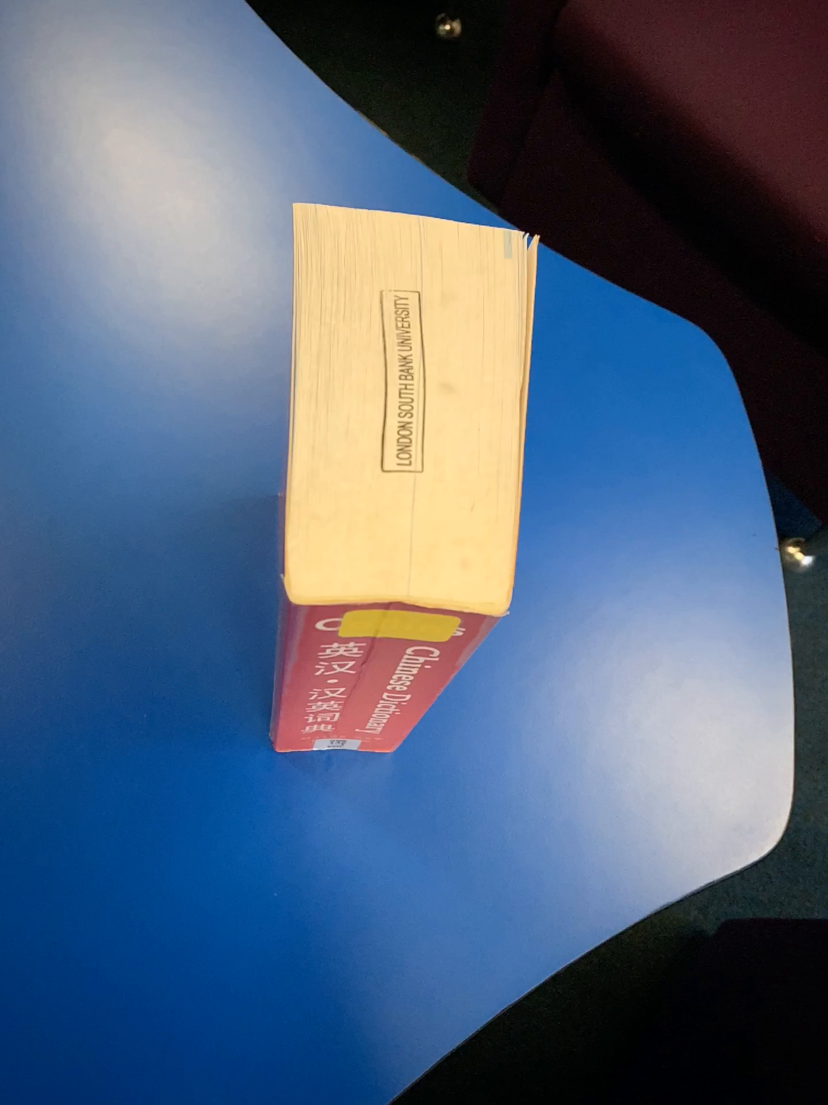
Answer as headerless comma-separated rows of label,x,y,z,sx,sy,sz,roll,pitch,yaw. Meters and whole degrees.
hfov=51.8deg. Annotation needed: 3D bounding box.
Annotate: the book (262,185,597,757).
book,-0.012,-0.009,0.334,0.080,0.199,0.141,3,66,-11
